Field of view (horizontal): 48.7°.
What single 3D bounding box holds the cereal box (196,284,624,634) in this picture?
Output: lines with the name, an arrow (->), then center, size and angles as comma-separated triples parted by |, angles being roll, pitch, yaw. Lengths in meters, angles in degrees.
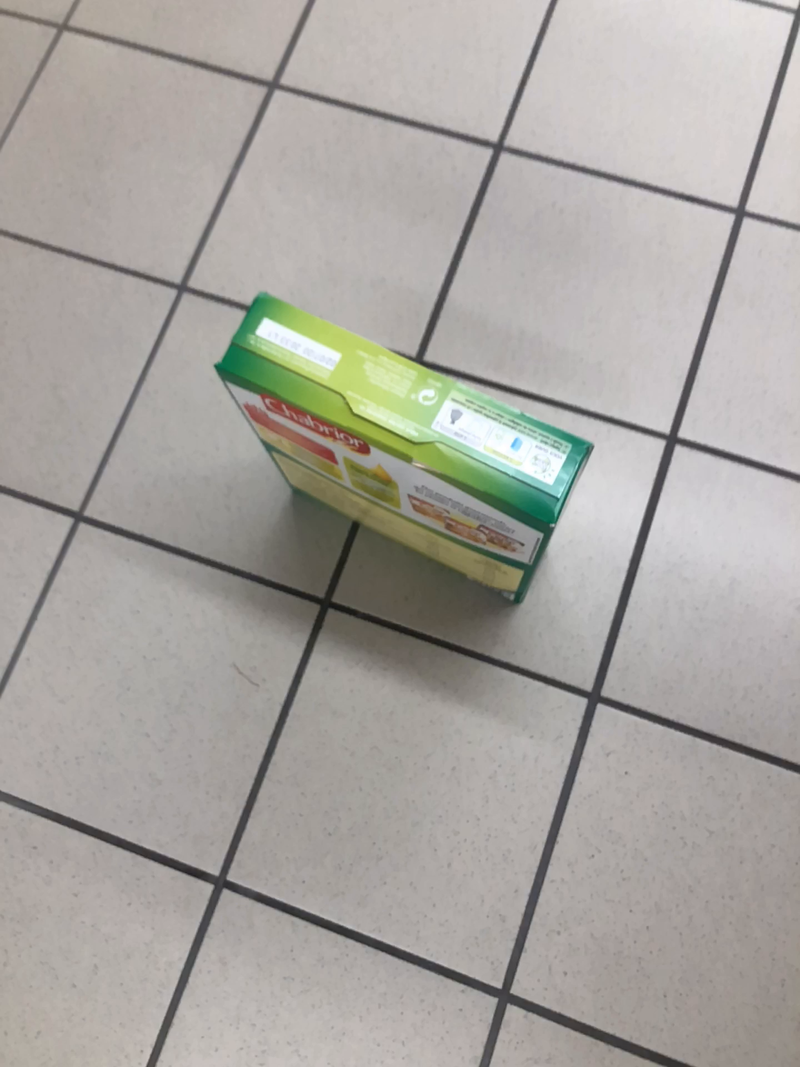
cereal box -> 0.008, -0.028, 0.529 | 0.200, 0.220, 0.060 | 26, 78, 9
